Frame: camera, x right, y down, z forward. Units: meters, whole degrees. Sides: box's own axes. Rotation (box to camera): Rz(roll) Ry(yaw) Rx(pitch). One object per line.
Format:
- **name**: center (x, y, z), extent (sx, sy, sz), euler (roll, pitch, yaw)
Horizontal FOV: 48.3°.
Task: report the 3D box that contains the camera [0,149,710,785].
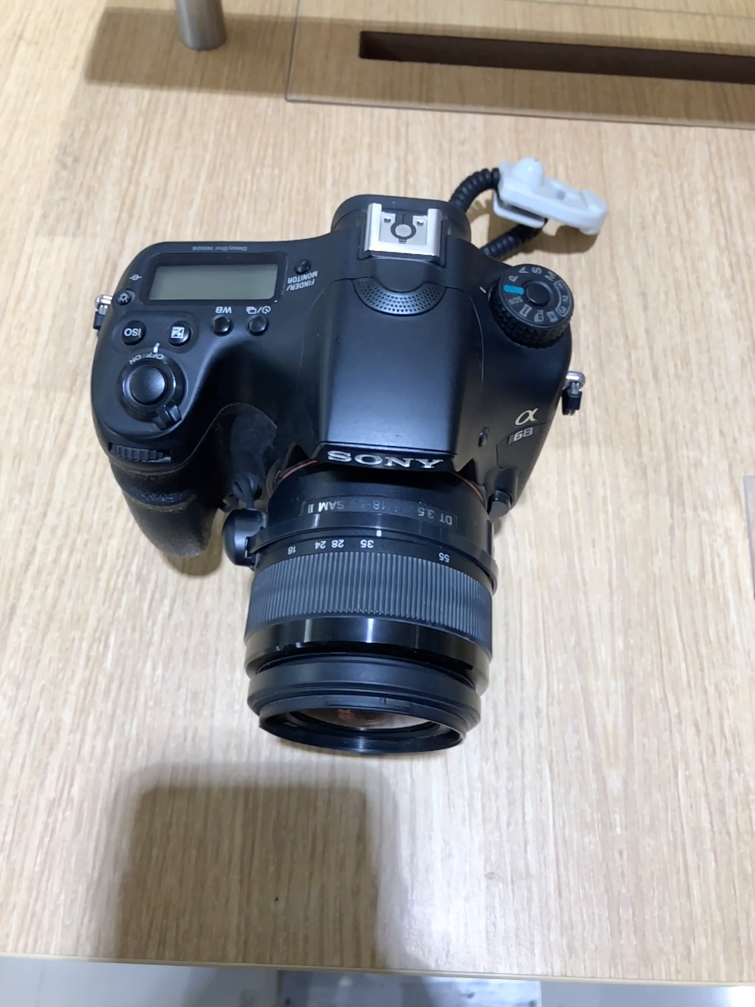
- **camera**: center (-0.010, -0.007, 0.212), extent (0.140, 0.080, 0.131), euler (3, 63, 0)
